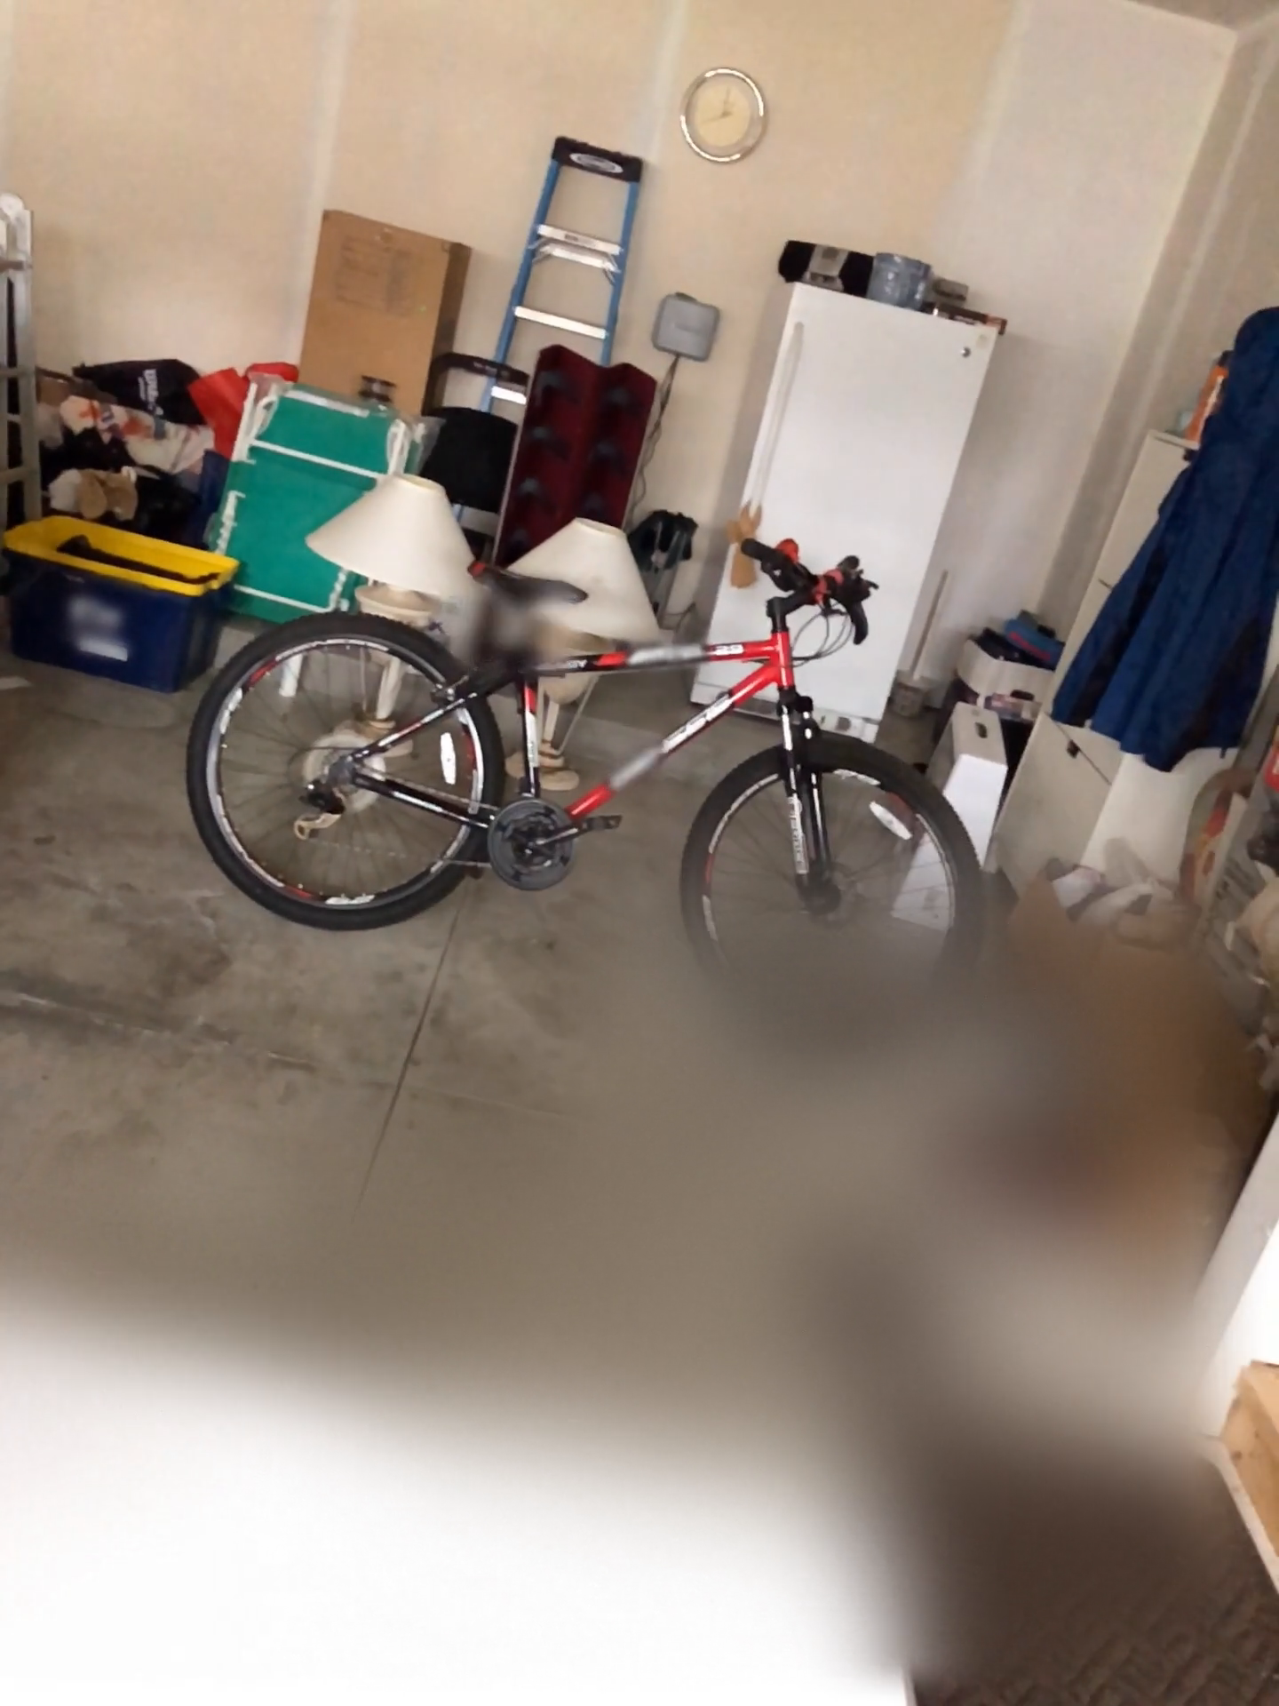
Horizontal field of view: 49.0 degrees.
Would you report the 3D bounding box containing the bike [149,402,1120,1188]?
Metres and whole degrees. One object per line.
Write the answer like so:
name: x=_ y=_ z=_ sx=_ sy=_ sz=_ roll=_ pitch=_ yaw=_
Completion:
bike: x=-0.105 y=-0.174 z=2.935 sx=1.668 sy=1.054 sz=0.591 roll=16 pitch=20 yaw=5
